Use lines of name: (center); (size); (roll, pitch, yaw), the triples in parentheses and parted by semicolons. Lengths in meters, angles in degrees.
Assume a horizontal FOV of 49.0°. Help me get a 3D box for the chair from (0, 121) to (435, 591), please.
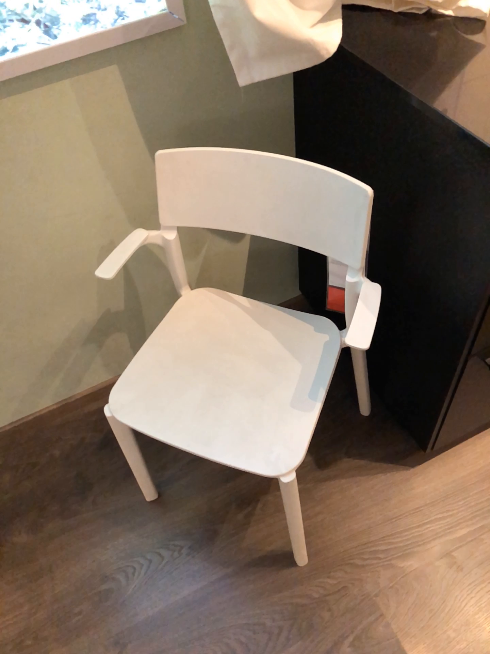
chair: (0.013, 0.080, 1.192); (0.561, 0.755, 0.583); (15, 55, 20)
